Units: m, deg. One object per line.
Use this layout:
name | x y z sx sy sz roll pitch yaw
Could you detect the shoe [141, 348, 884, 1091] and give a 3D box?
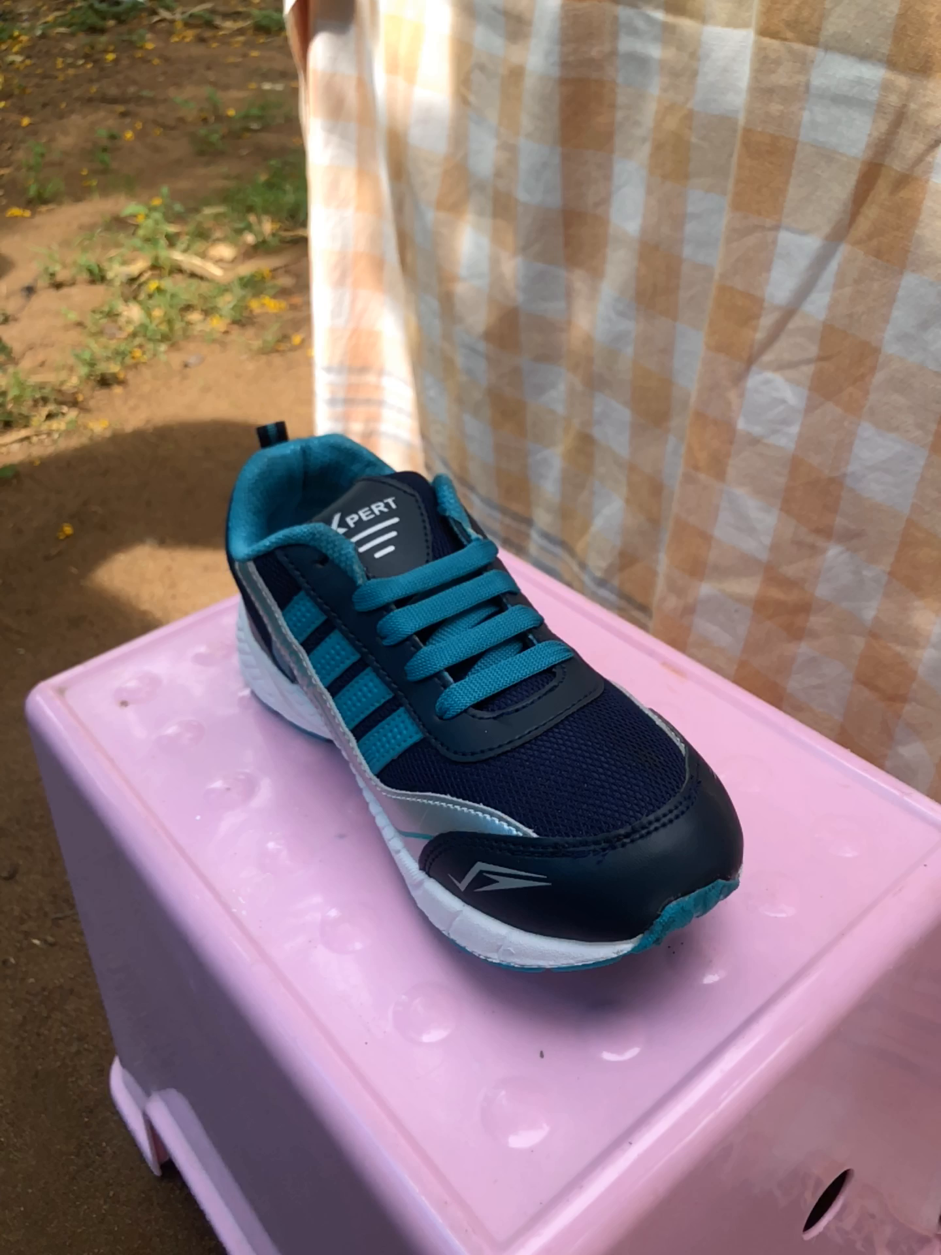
shoe | -0.006 0.006 0.388 0.110 0.109 0.271 -25 44 -26
